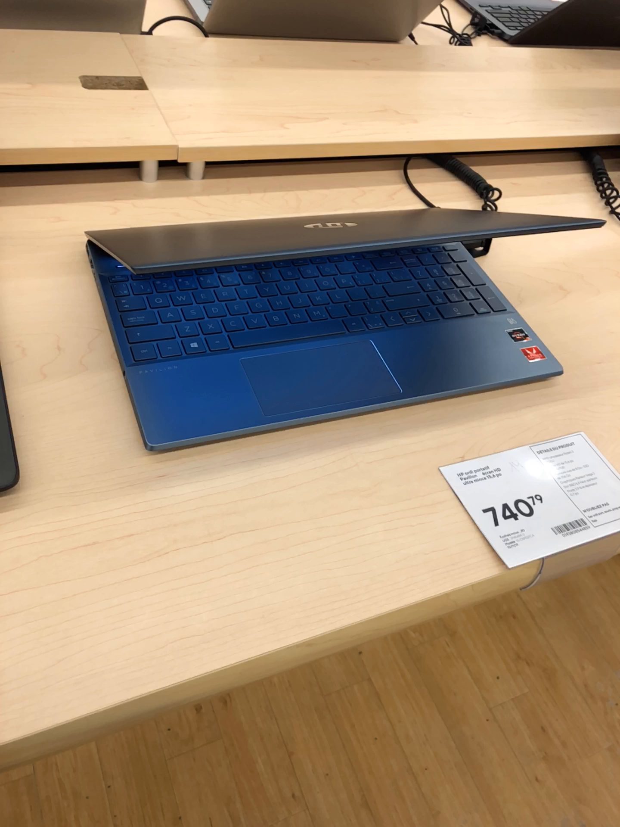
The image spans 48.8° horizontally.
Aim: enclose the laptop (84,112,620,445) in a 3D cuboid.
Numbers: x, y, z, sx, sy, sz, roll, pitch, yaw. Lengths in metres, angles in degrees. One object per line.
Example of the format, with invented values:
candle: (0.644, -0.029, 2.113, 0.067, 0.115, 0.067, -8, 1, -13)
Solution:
laptop: (0.027, -0.125, 0.533, 0.350, 0.119, 0.209, -10, 53, -22)
